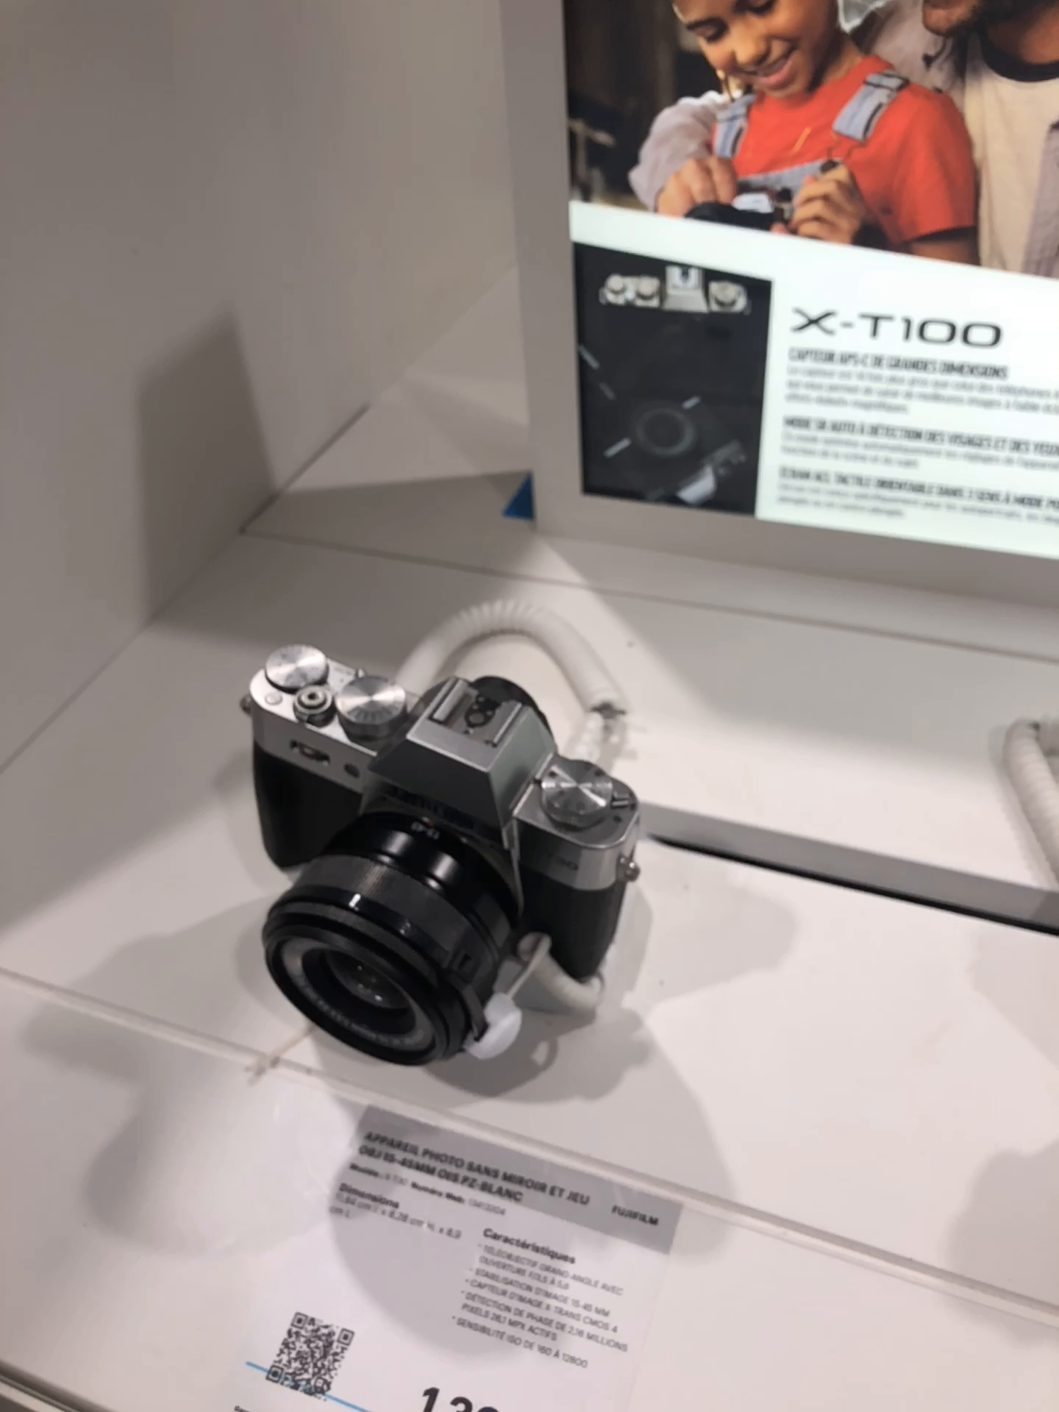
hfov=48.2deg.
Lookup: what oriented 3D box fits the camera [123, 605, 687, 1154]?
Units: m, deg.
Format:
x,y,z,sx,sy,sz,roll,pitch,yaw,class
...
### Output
x,y,z,sx,sy,sz,roll,pitch,yaw,class
-0.034,0.048,0.363,0.130,0.089,0.091,20,45,19,camera
